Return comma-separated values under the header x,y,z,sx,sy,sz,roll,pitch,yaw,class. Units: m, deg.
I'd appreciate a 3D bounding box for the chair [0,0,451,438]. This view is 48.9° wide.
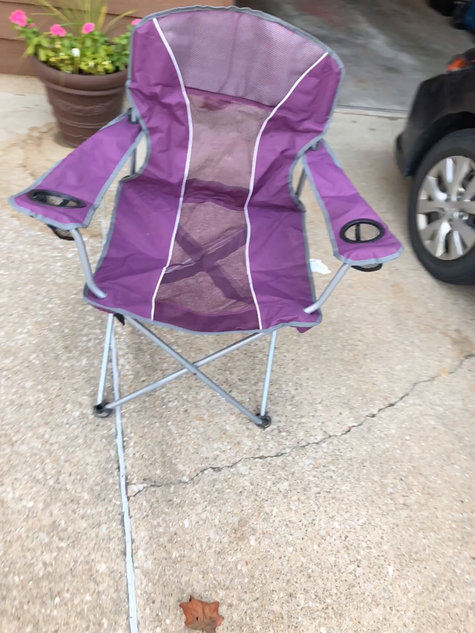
x,y,z,sx,sy,sz,roll,pitch,yaw,class
-0.109,-0.257,1.359,0.760,0.878,0.711,6,43,-8,chair
